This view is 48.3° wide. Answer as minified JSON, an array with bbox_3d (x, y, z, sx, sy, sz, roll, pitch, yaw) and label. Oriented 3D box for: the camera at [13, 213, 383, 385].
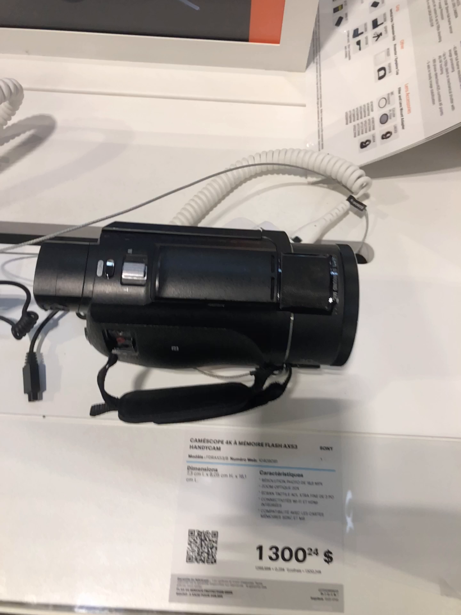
[{"bbox_3d":[-0.014,-0.002,0.276,0.168,0.066,0.061,3,66,0],"label":"camera"}]
